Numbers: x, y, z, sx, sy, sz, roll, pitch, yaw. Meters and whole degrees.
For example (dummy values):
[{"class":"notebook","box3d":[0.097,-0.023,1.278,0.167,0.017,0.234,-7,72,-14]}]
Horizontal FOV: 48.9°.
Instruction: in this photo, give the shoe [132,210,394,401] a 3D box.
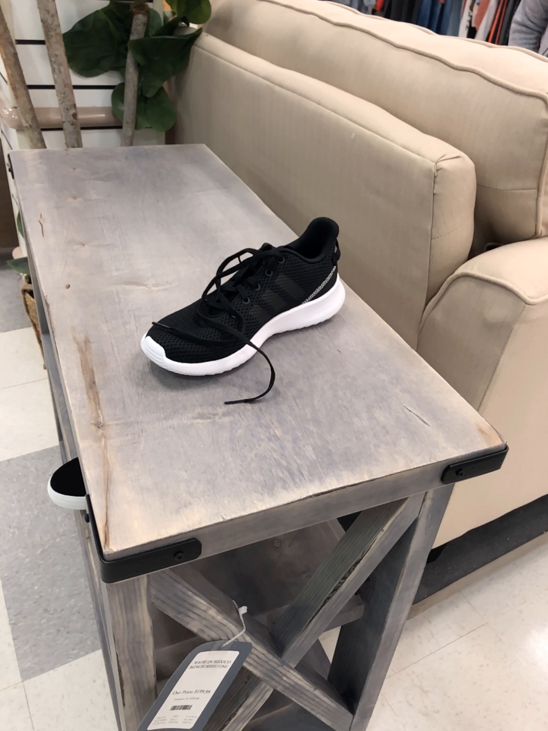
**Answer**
[{"class":"shoe","box3d":[-0.007,-0.084,0.702,0.284,0.109,0.120,-23,45,-35]}]
